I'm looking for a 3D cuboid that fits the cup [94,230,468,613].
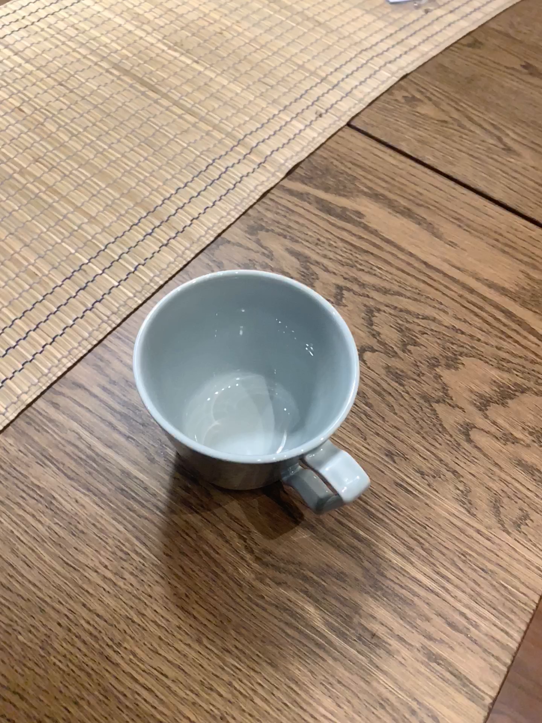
[{"bbox_3d":[-0.001,0.030,0.299,0.110,0.100,0.140,-31,65,-22],"label":"cup"}]
